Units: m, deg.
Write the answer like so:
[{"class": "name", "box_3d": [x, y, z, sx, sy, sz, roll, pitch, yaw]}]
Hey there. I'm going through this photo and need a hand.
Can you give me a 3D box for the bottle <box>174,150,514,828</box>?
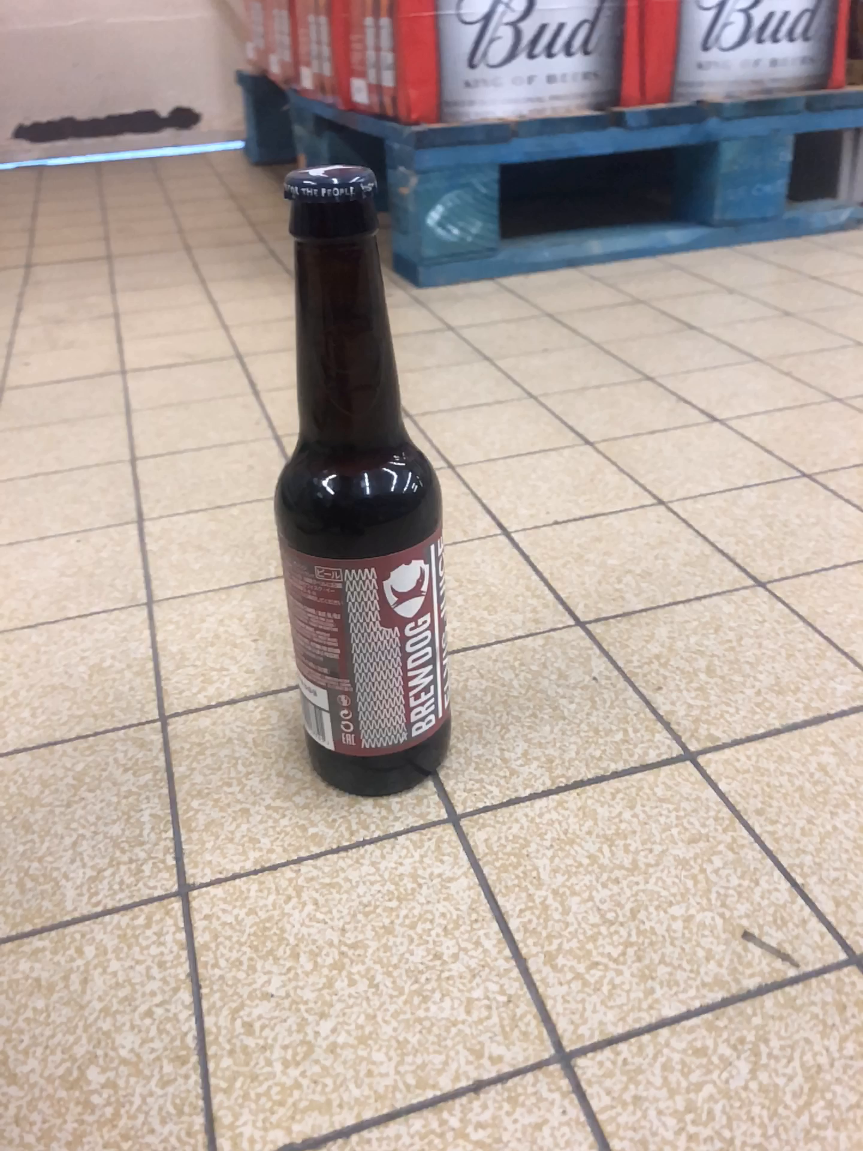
[{"class": "bottle", "box_3d": [-0.022, -0.026, 0.327, 0.070, 0.209, 0.070, -3, 30, 1]}]
